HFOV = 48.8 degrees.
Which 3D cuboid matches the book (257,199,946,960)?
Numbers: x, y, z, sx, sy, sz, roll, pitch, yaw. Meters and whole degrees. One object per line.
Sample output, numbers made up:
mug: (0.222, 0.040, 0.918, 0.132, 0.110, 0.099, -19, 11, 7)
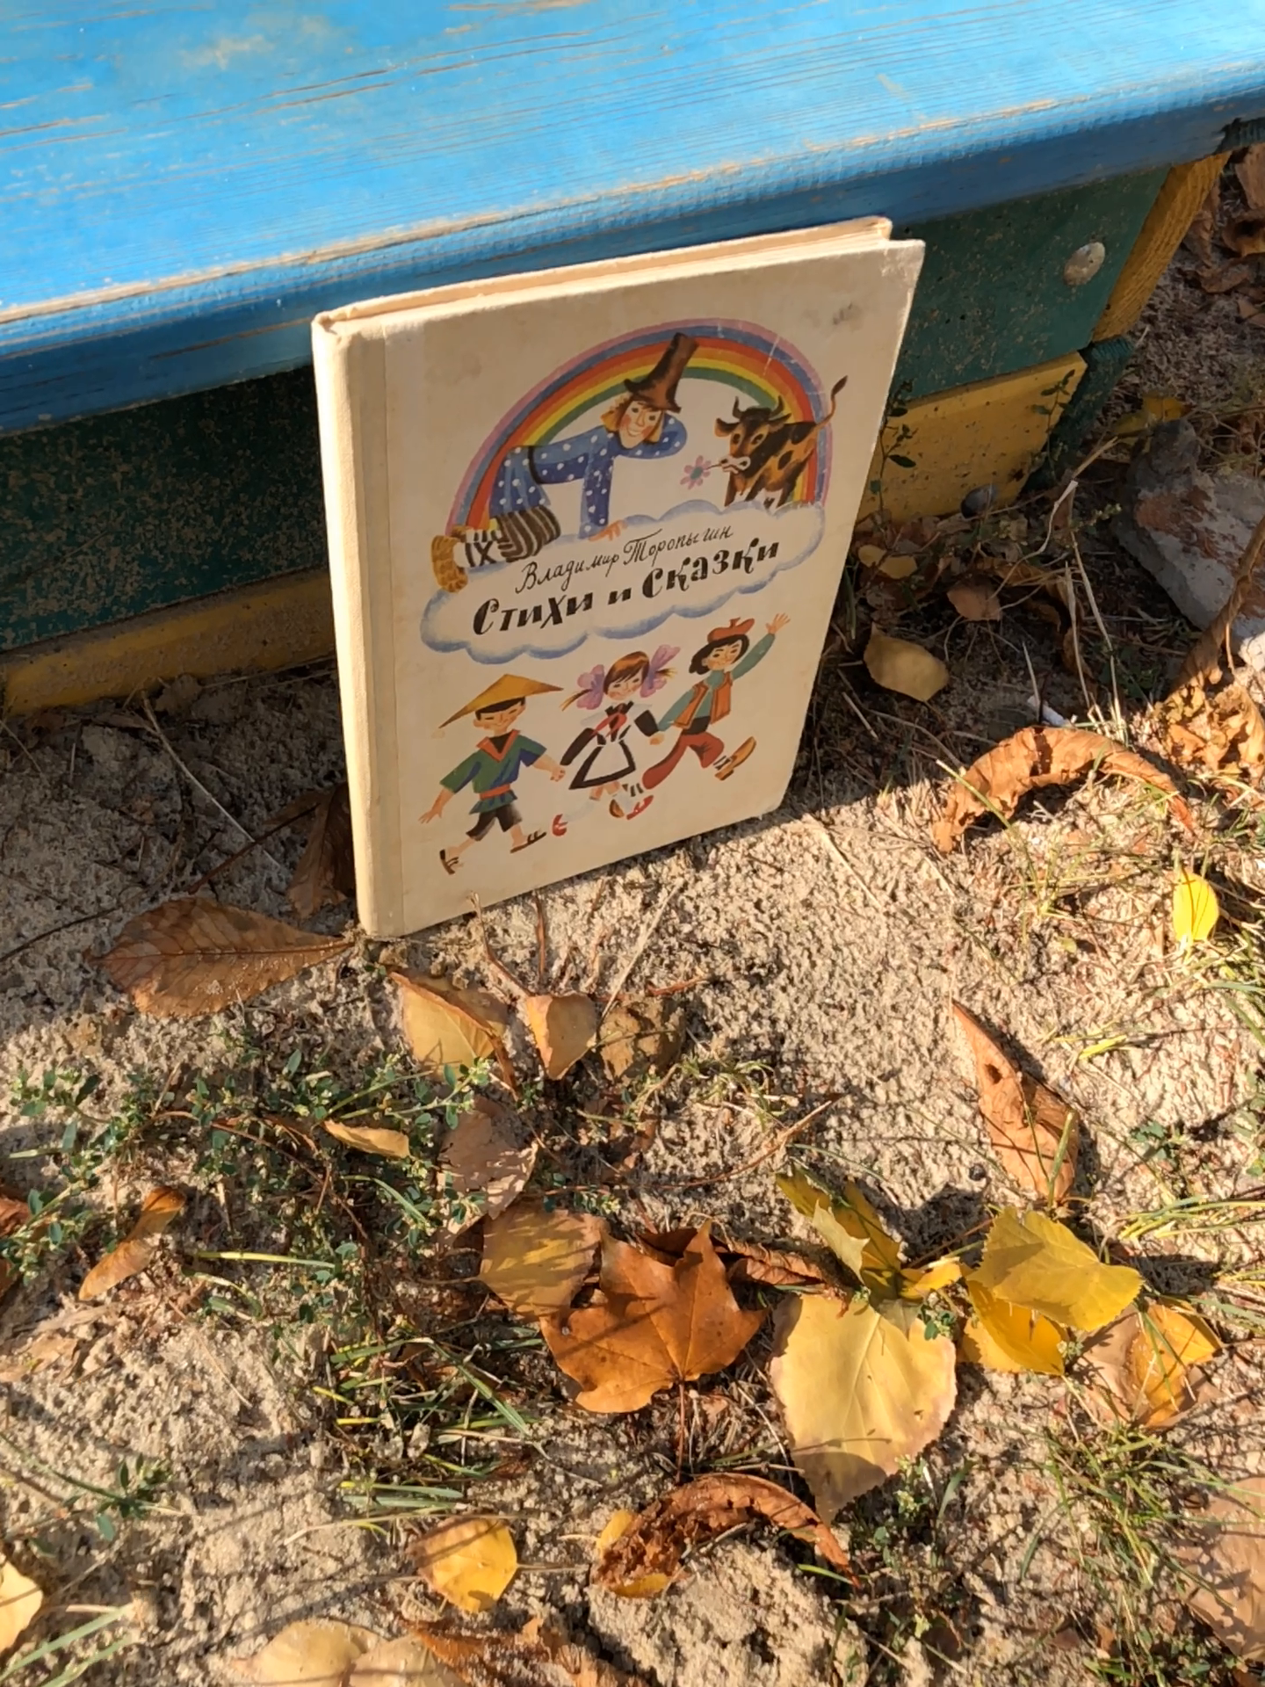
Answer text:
book: (-0.008, -0.069, 0.420, 0.178, 0.213, 0.024, -18, 50, -21)
